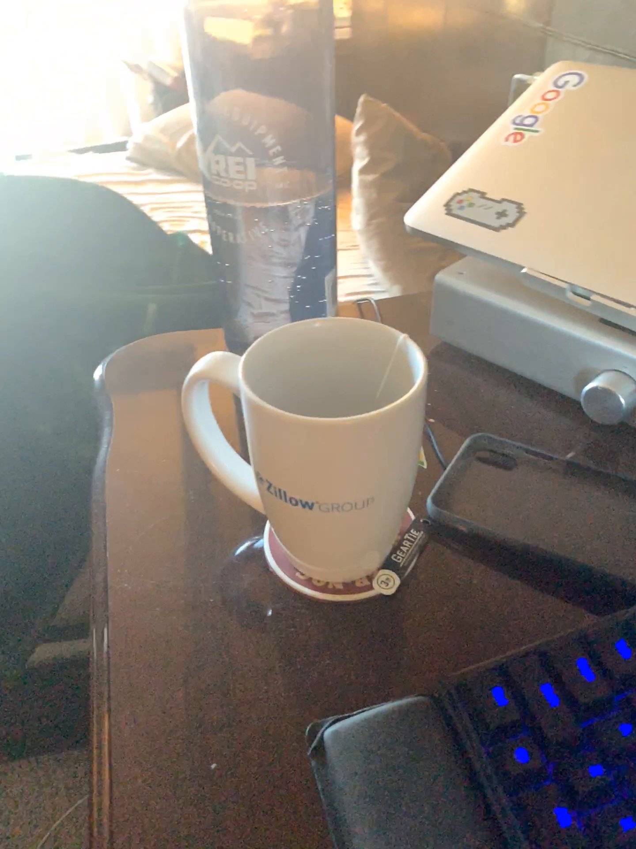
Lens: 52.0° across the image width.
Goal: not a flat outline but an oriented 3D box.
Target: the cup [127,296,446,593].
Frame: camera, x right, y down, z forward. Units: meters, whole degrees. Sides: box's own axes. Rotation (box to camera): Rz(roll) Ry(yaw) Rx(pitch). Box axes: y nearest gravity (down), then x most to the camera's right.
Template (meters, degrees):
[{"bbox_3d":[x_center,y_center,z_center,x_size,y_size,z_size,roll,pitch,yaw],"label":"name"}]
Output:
[{"bbox_3d":[-0.006,0.006,0.333,0.130,0.099,0.101,4,40,9],"label":"cup"}]
